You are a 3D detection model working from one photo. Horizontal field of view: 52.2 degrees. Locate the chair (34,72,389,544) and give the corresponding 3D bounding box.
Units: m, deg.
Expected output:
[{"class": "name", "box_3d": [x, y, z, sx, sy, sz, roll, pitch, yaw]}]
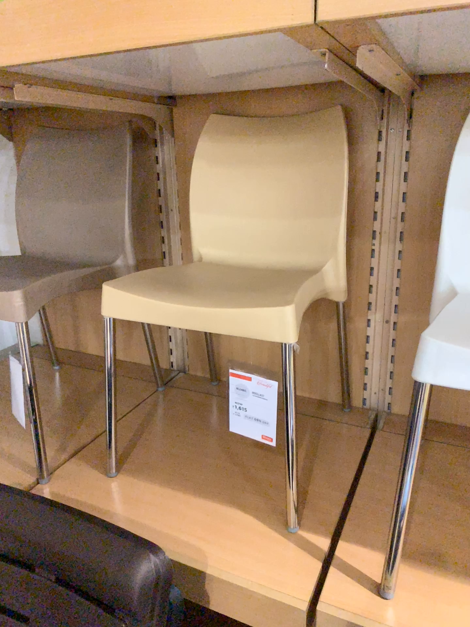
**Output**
[{"class": "chair", "box_3d": [0.004, -0.071, 1.138, 0.541, 0.807, 0.591, 9, 20, 22]}]
